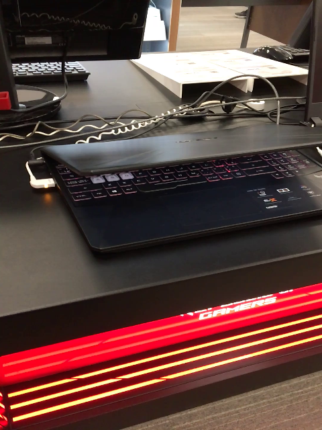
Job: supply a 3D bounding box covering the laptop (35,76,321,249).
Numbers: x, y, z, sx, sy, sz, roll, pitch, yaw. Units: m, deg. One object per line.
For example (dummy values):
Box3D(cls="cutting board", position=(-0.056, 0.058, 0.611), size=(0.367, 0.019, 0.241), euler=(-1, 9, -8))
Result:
Box3D(cls="laptop", position=(0.066, -0.095, 0.578), size=(0.388, 0.088, 0.245), euler=(-13, 40, -19))
